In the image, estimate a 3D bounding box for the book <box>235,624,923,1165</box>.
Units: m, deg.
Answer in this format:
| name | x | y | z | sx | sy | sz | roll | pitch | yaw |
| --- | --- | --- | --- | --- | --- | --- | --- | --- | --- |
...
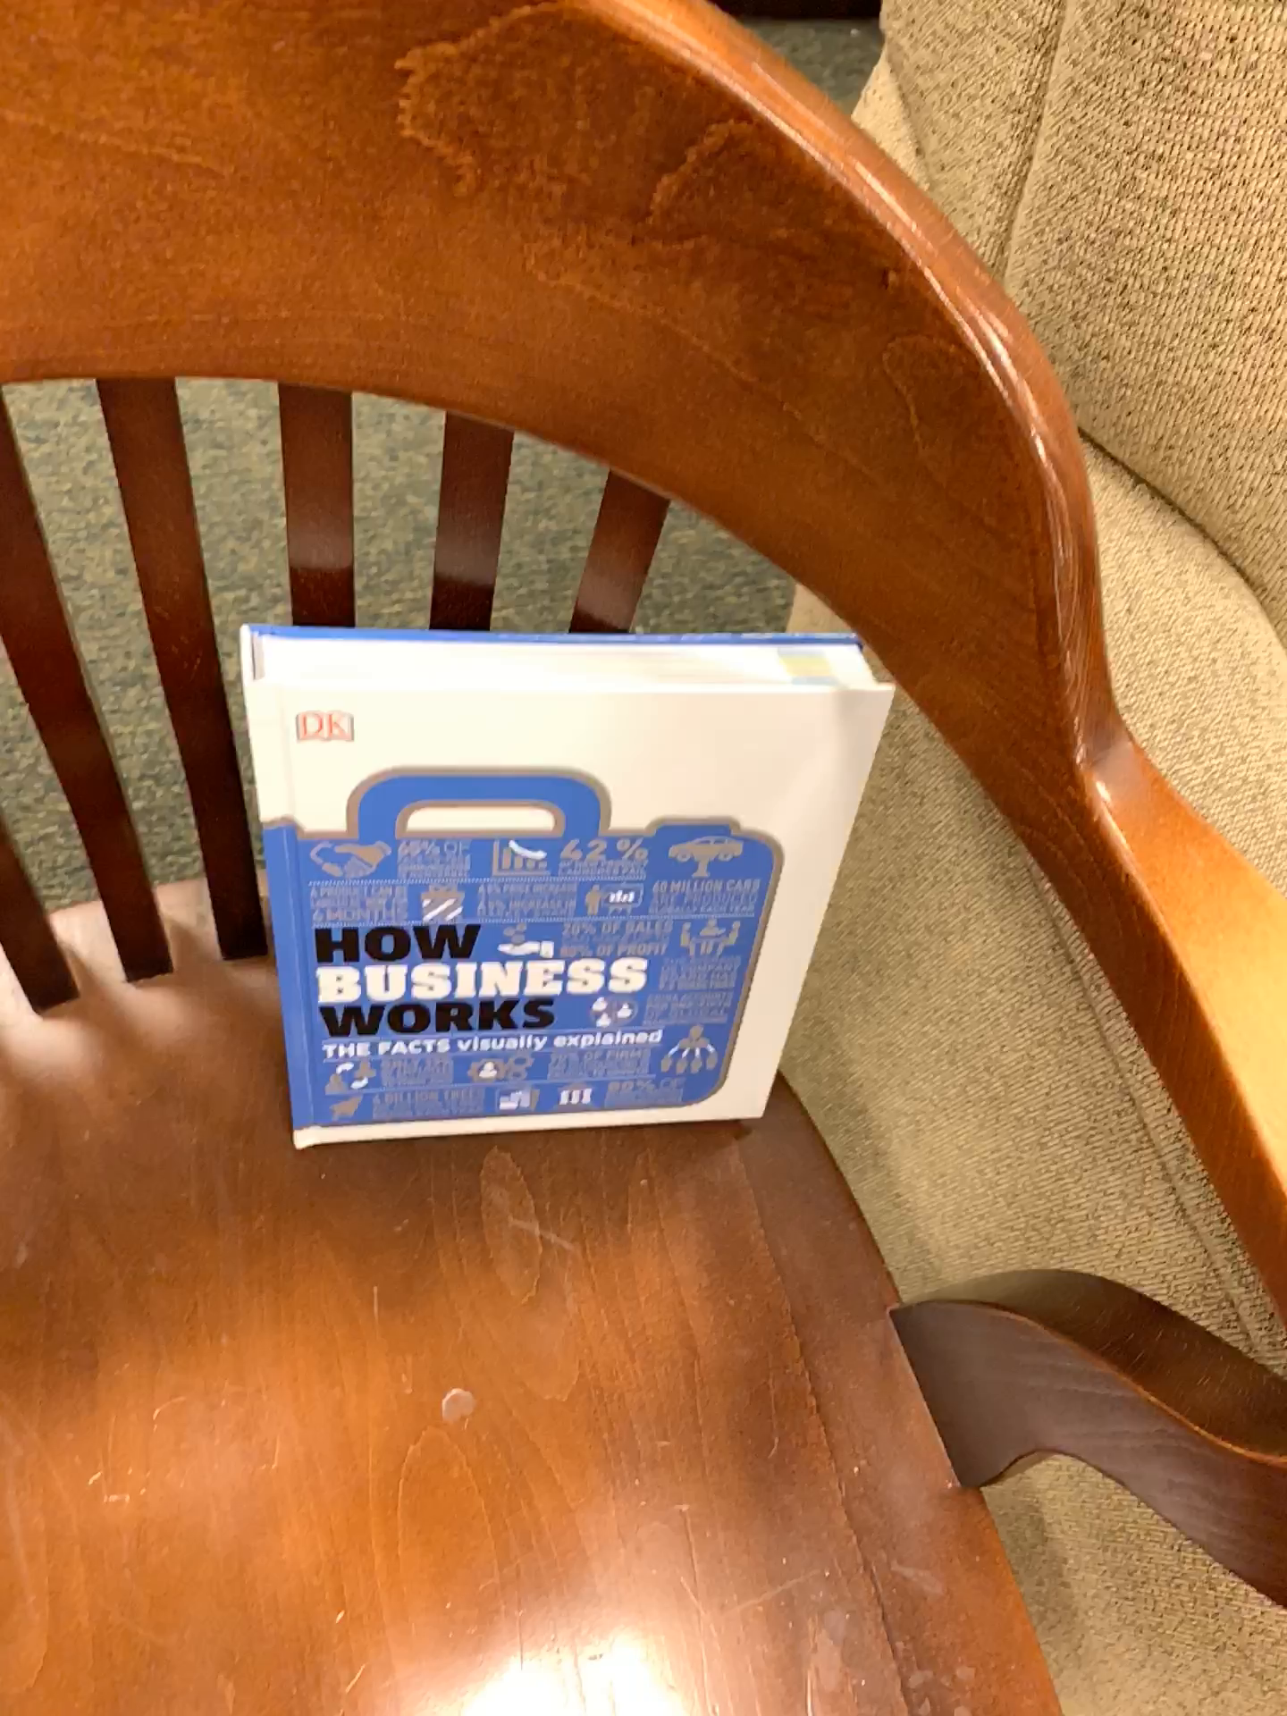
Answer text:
| name | x | y | z | sx | sy | sz | roll | pitch | yaw |
| --- | --- | --- | --- | --- | --- | --- | --- | --- | --- |
| book | -0.034 | 0.026 | 0.501 | 0.211 | 0.246 | 0.039 | -1 | 46 | -12 |
